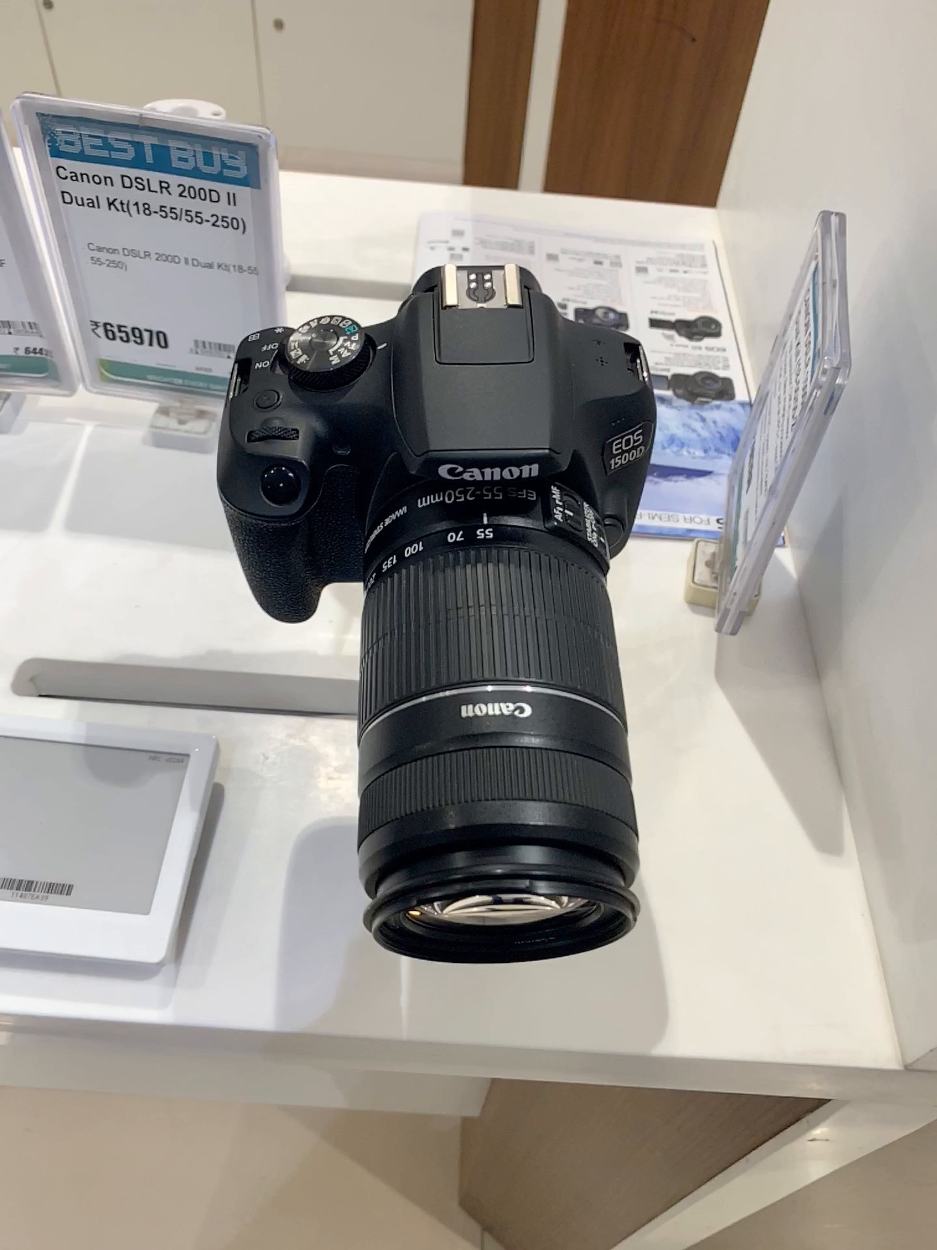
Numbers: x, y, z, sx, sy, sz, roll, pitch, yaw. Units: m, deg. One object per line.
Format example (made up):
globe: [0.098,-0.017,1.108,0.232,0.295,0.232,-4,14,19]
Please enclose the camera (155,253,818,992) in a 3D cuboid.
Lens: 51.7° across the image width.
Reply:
camera: [-0.003,-0.003,0.250,0.117,0.090,0.164,-1,60,-5]
